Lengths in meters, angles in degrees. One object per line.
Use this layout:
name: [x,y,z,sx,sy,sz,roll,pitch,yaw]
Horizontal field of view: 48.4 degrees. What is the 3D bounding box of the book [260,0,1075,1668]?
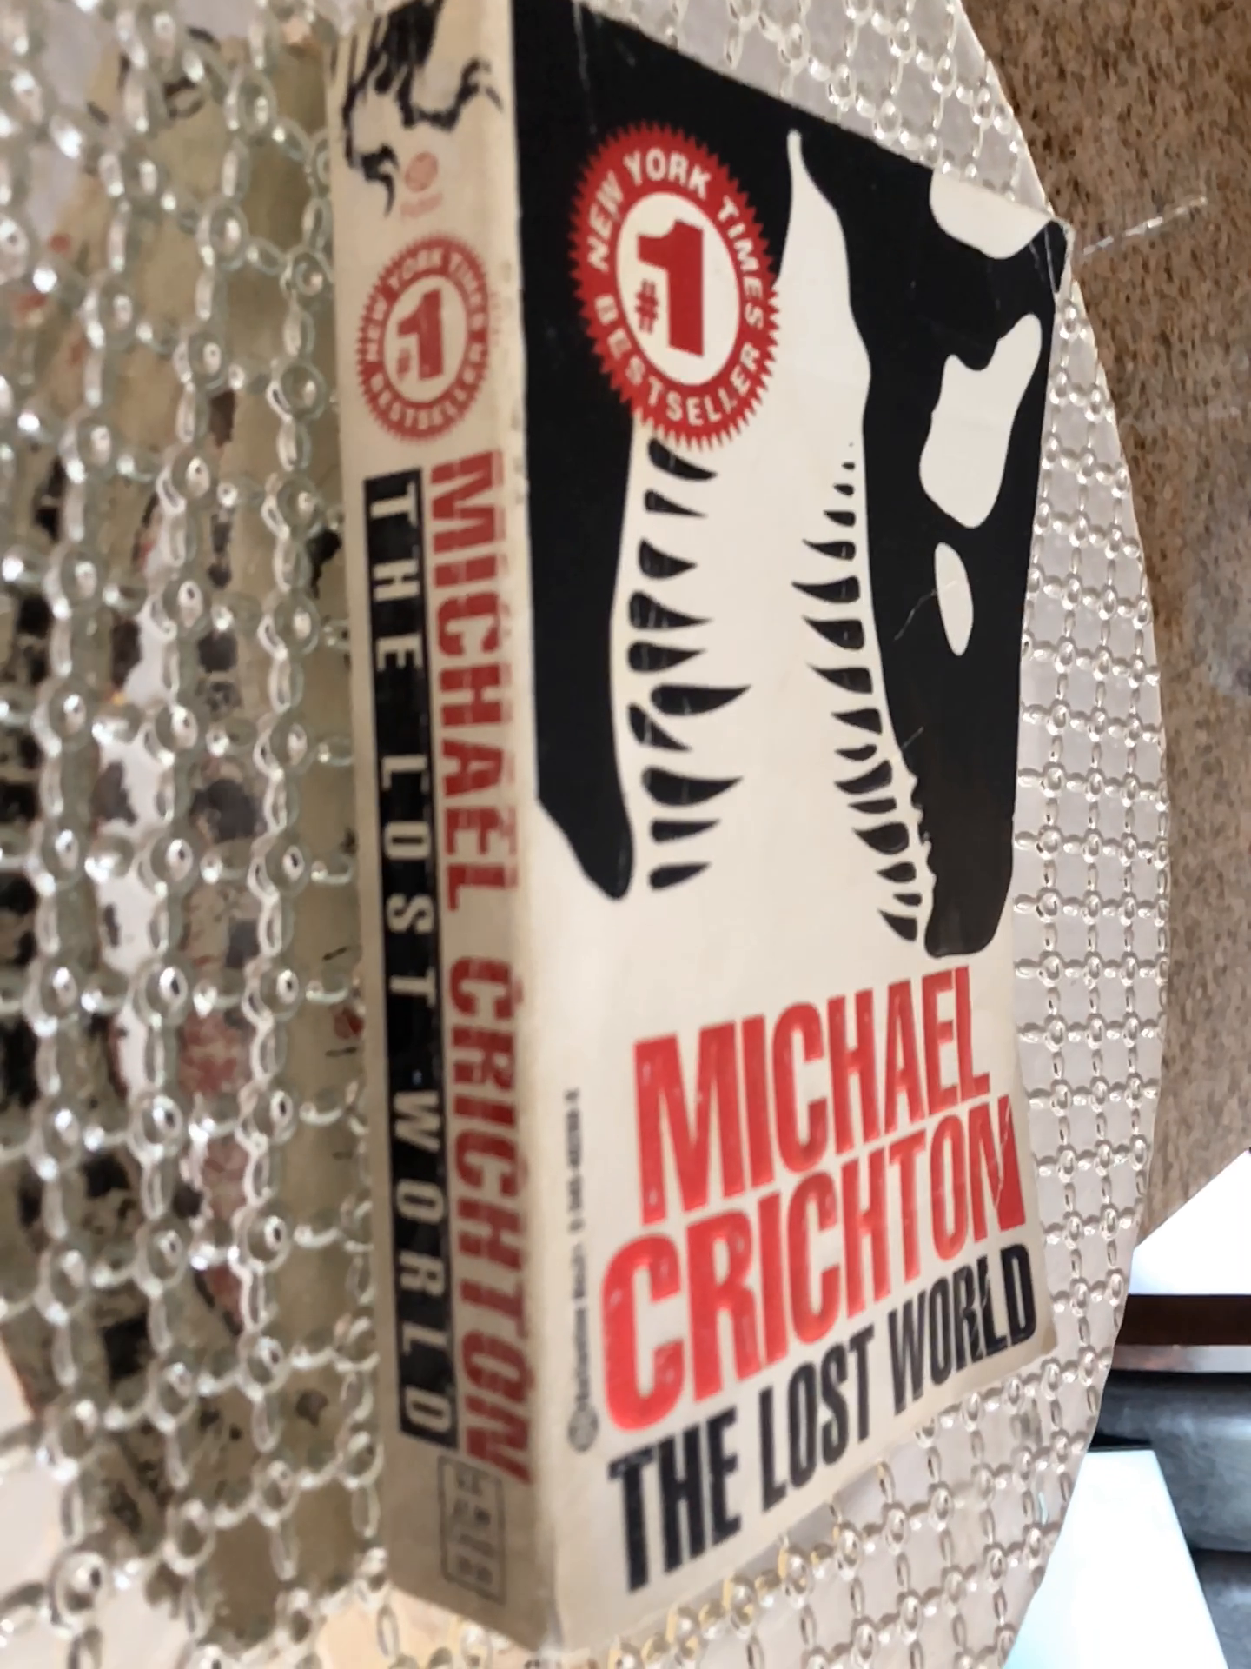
book: [0.016,-0.008,0.190,0.119,0.040,0.183,-3,91,-50]
